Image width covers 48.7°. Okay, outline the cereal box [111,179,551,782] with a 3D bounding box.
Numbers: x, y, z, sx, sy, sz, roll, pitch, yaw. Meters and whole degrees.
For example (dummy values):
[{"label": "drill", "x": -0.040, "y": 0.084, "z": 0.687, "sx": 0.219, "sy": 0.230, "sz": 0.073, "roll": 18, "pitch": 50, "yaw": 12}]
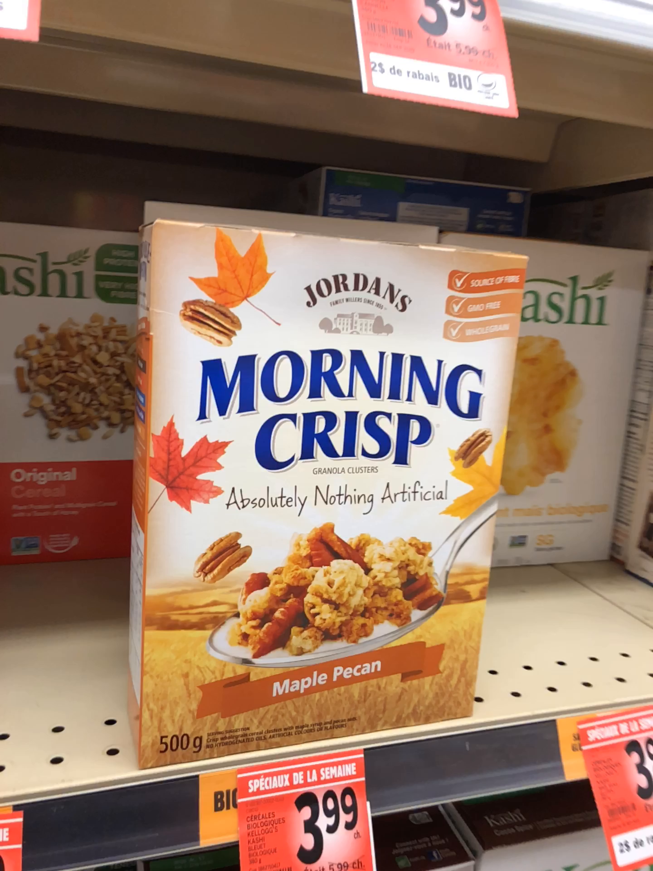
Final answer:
[{"label": "cereal box", "x": -0.002, "y": 0.024, "z": 0.356, "sx": 0.190, "sy": 0.259, "sz": 0.050, "roll": 1, "pitch": 12, "yaw": -21}]
